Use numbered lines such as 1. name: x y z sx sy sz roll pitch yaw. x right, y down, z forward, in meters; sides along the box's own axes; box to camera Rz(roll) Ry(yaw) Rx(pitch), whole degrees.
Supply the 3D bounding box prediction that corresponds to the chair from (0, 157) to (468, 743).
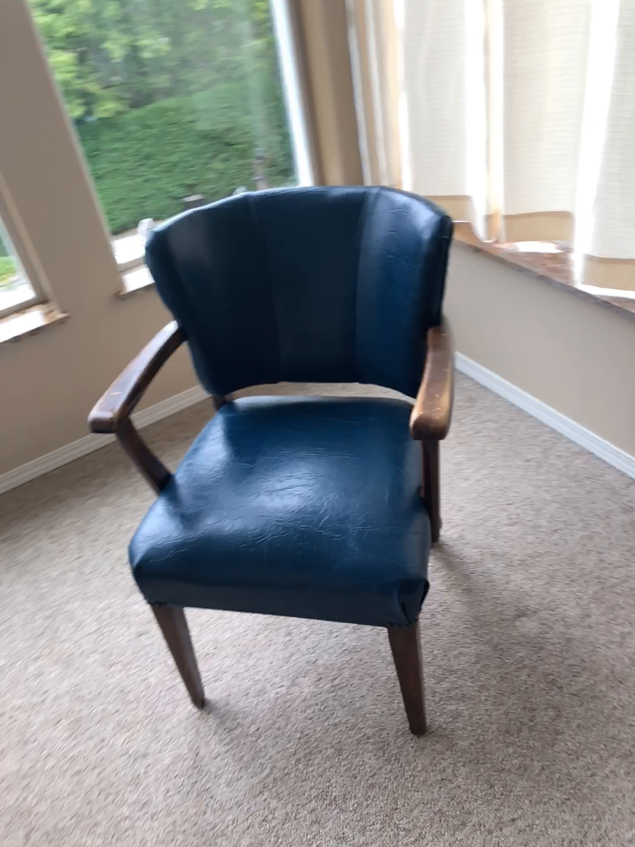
1. chair: -0.022 0.055 1.219 0.530 0.797 0.562 1 40 14
